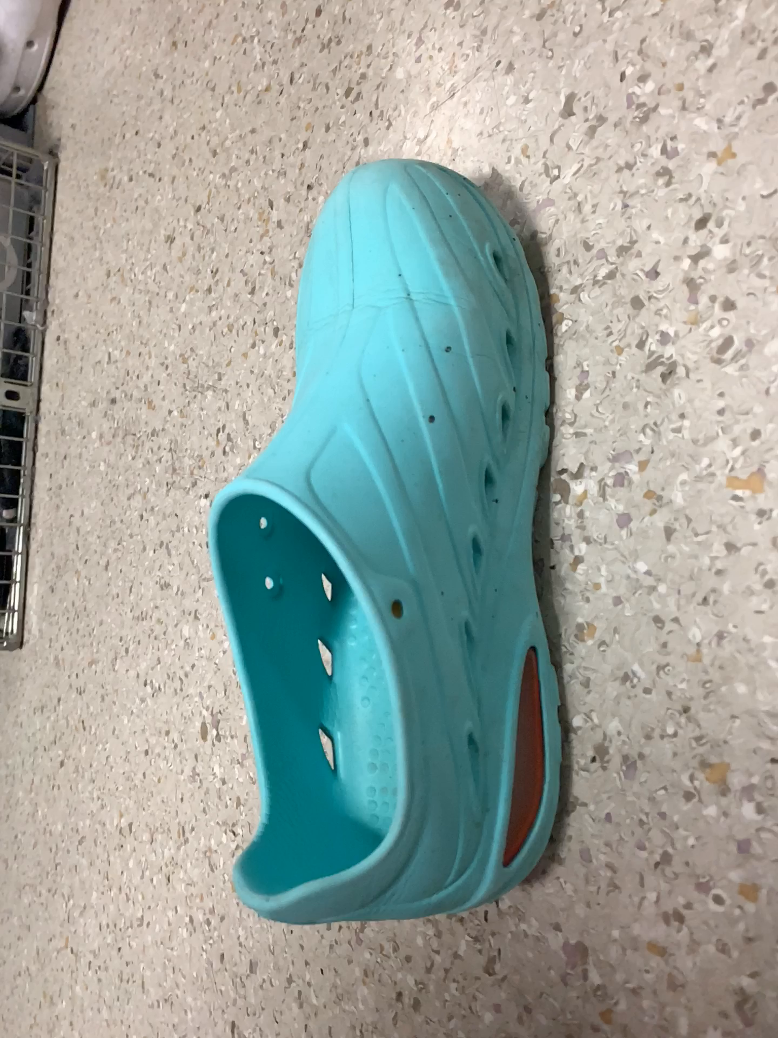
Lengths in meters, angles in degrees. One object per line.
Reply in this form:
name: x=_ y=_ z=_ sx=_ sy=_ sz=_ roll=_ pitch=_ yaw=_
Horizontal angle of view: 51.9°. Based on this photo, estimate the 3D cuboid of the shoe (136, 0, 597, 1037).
shoe: x=-0.011 y=-0.003 z=0.274 sx=0.106 sy=0.105 sz=0.275 roll=-9 pitch=79 yaw=49
